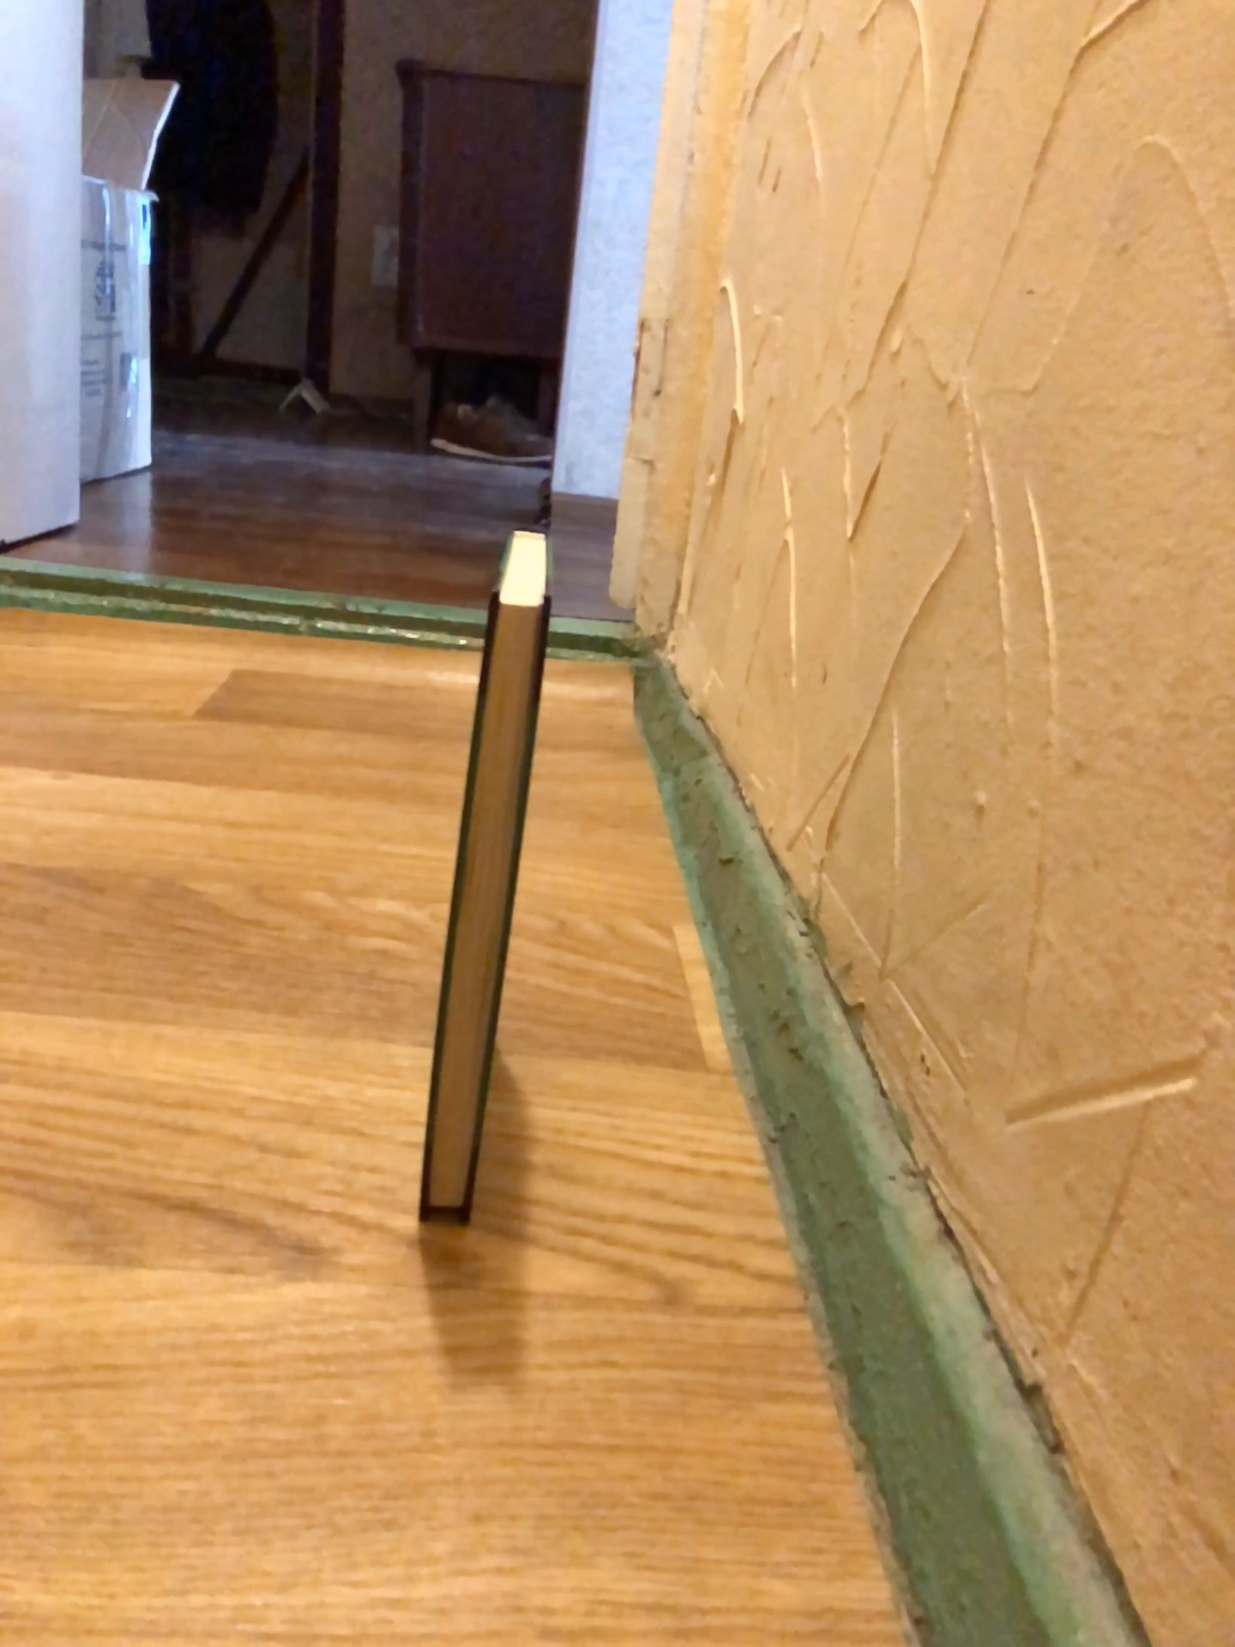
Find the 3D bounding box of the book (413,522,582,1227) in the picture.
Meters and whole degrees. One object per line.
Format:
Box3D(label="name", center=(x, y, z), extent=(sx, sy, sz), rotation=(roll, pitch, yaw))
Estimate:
Box3D(label="book", center=(-0.039, 0.007, 0.459), extent=(0.024, 0.197, 0.148), rotation=(8, 18, -5))
